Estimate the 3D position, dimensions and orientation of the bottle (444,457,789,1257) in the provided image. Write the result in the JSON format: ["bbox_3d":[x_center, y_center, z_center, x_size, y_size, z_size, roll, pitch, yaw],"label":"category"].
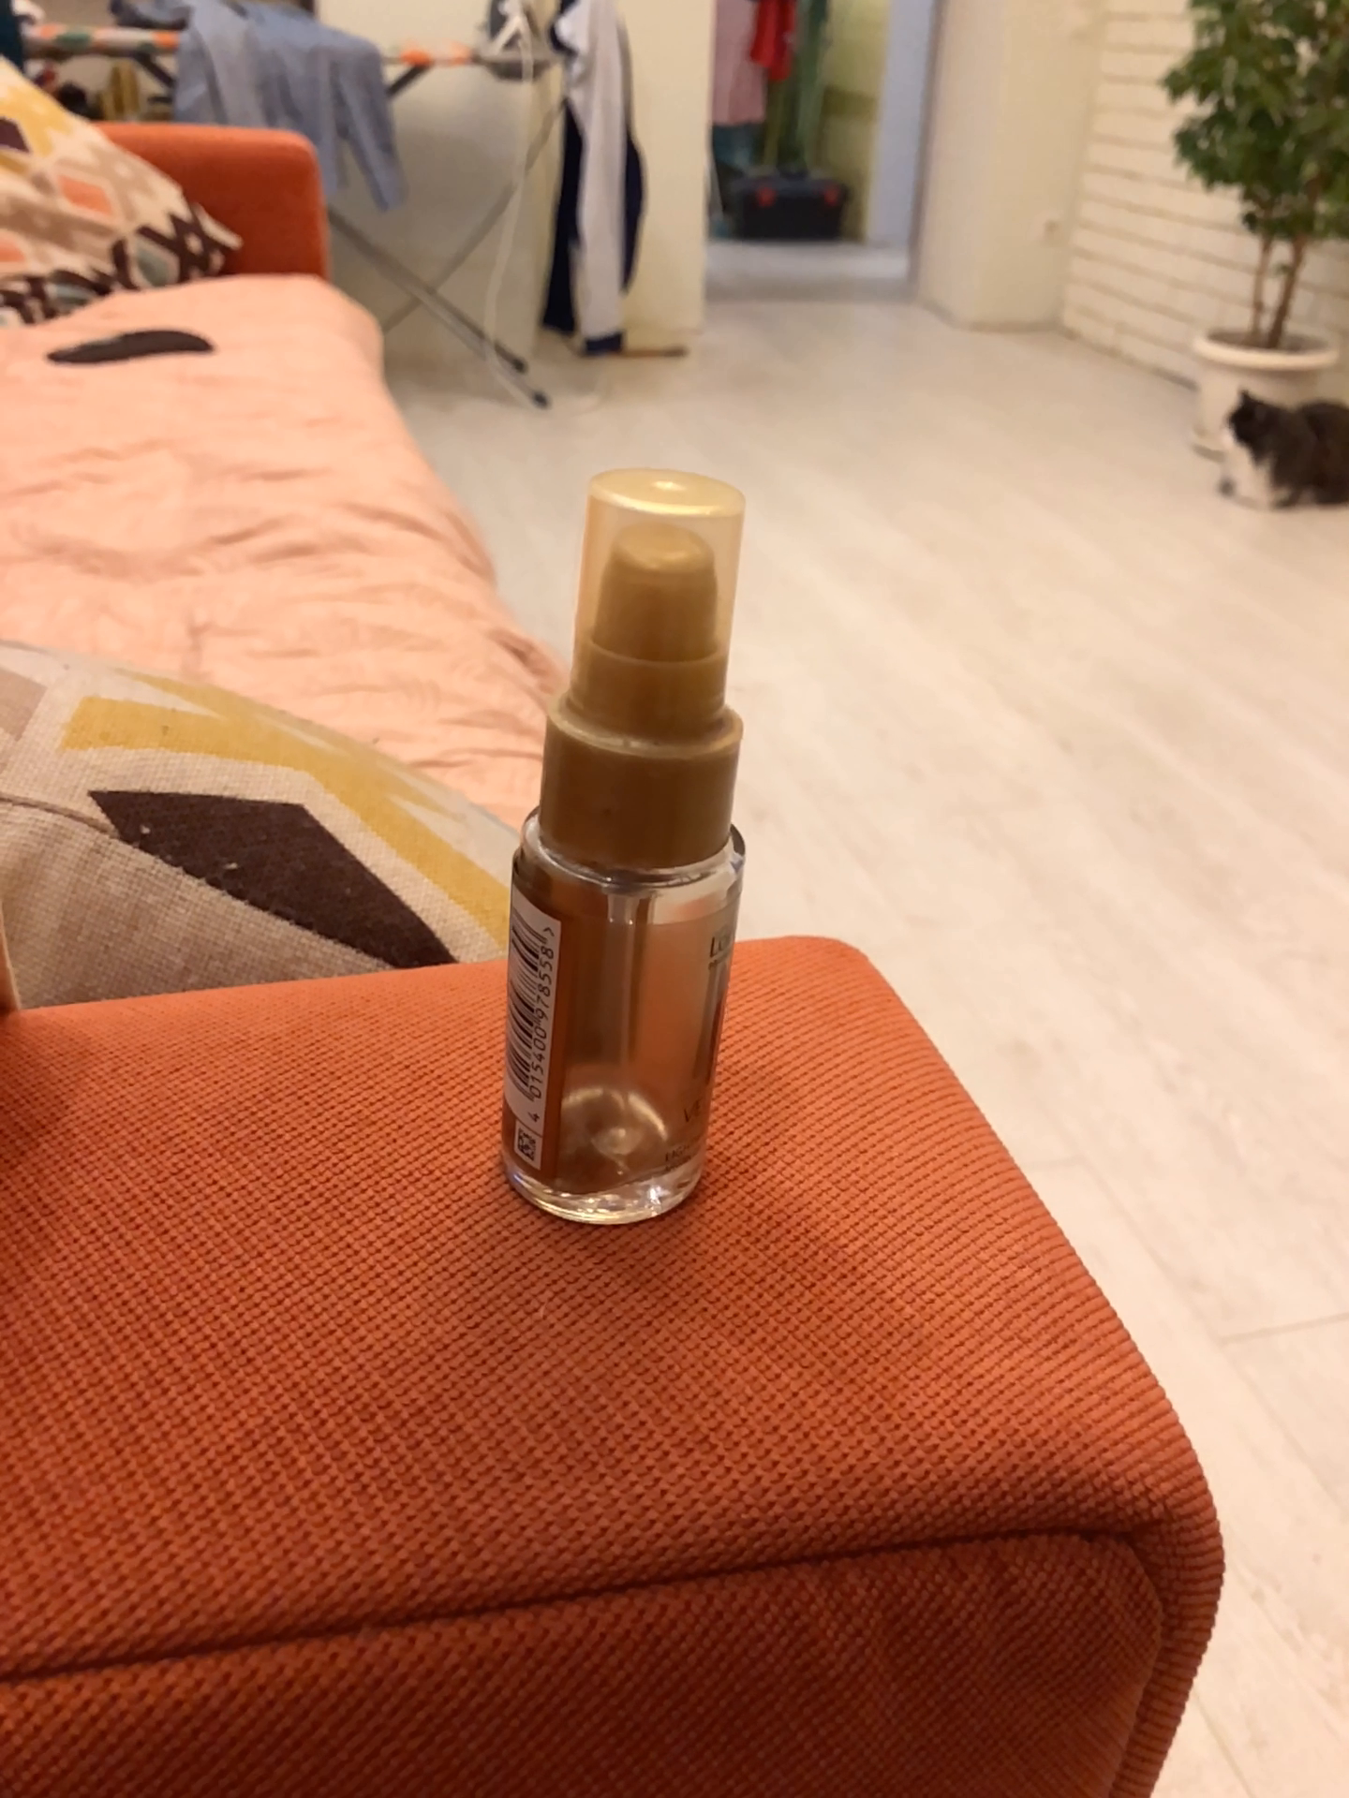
[{"bbox_3d":[-0.008,-0.004,0.217,0.033,0.106,0.035,2,29,-1],"label":"bottle"}]
